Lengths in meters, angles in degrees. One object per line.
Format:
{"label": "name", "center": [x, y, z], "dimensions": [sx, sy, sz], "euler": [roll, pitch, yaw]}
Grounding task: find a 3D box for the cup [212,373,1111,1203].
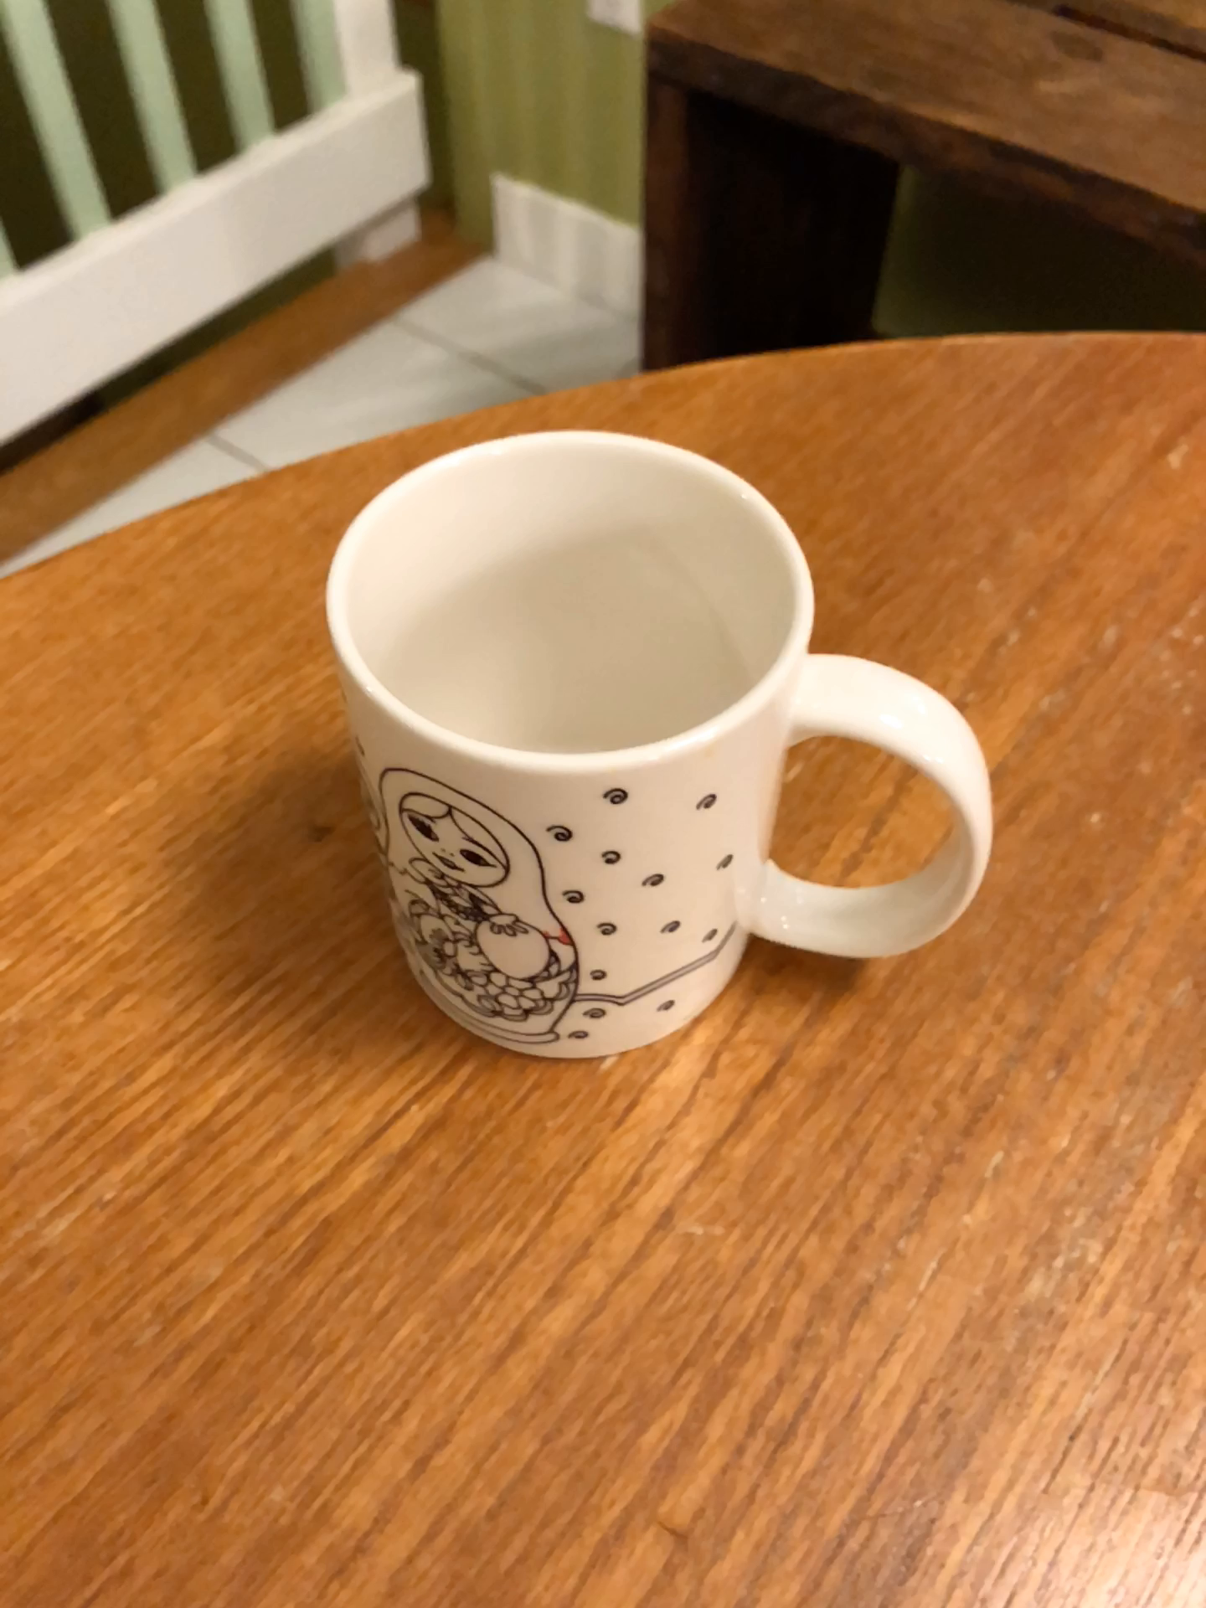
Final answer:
{"label": "cup", "center": [0.014, -0.003, 0.261], "dimensions": [0.126, 0.099, 0.088], "euler": [17, 54, 12]}
